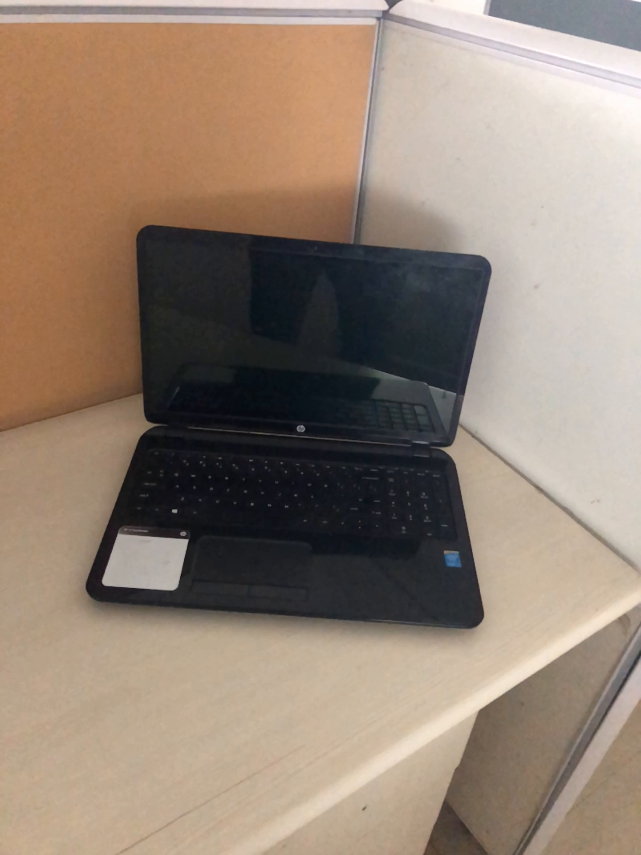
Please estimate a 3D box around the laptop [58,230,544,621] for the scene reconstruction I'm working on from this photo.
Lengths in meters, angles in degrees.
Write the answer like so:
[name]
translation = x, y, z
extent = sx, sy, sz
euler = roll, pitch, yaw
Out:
[laptop]
translation = -0.014, -0.010, 0.677
extent = 0.350, 0.225, 0.267
euler = 5, 38, -2
